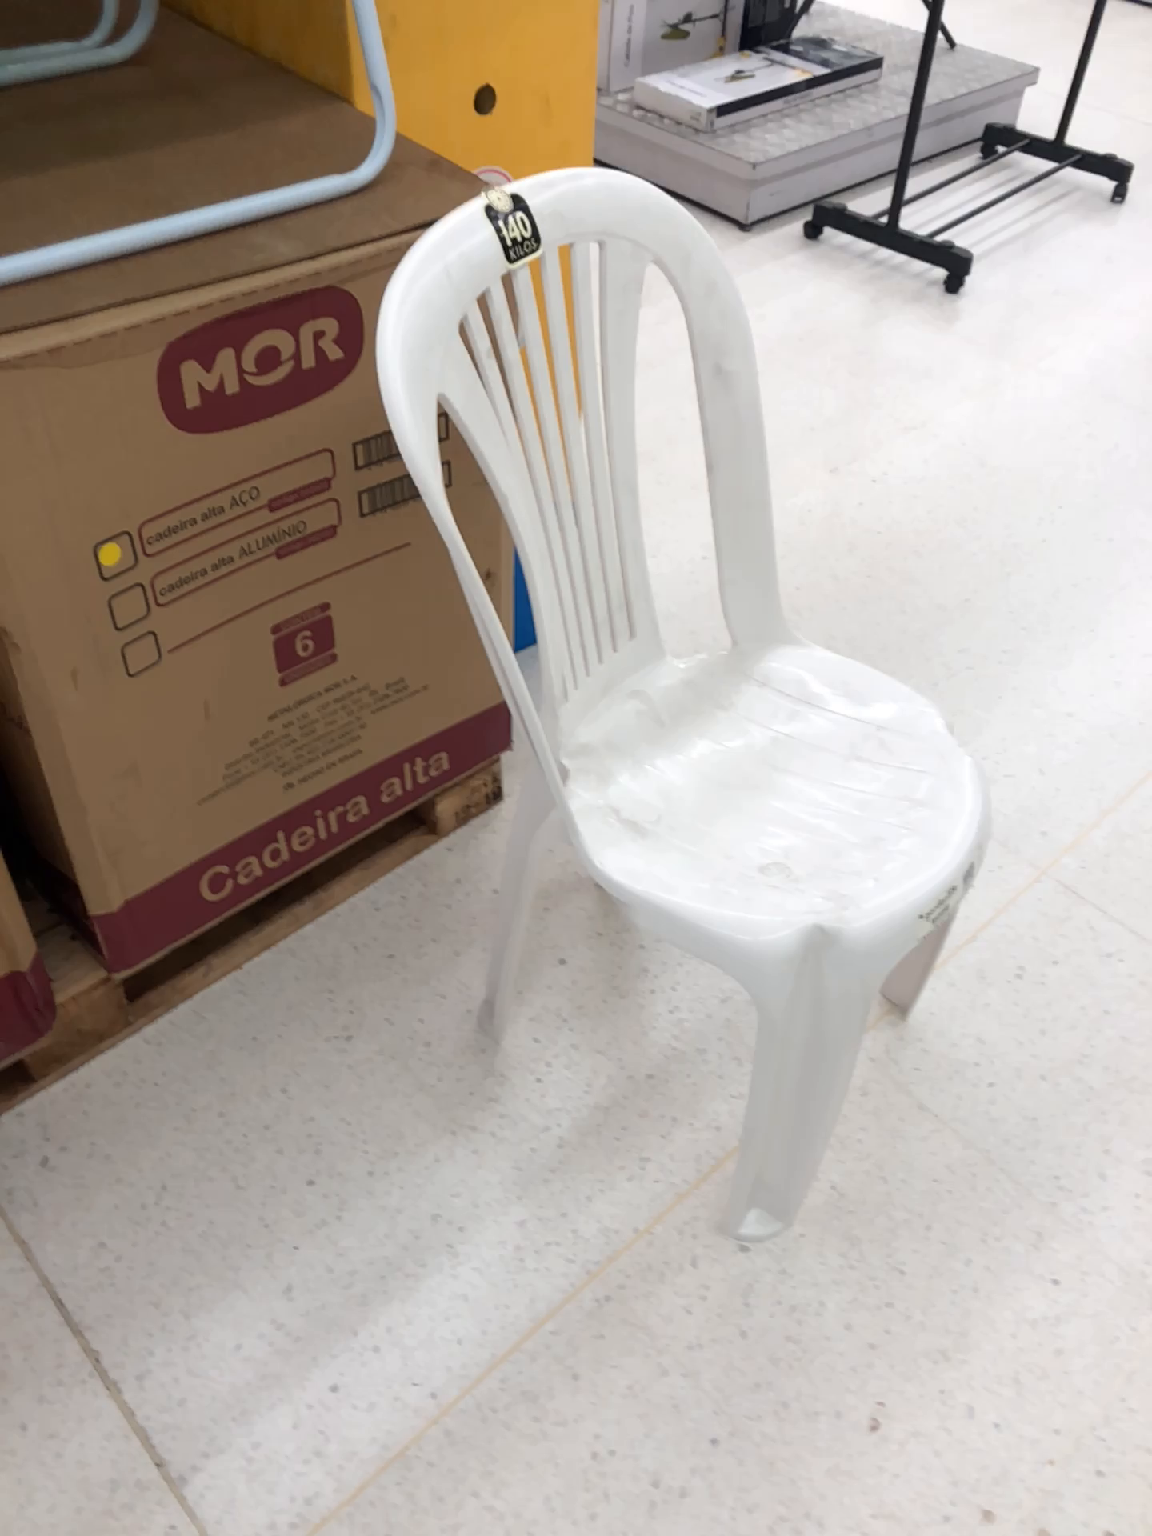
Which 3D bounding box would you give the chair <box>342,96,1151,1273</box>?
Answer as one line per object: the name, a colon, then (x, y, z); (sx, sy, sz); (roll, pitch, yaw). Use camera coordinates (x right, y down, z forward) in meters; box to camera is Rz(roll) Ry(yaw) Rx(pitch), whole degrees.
chair: (0.152, -0.043, 1.120); (0.461, 0.834, 0.442); (24, 48, 21)
